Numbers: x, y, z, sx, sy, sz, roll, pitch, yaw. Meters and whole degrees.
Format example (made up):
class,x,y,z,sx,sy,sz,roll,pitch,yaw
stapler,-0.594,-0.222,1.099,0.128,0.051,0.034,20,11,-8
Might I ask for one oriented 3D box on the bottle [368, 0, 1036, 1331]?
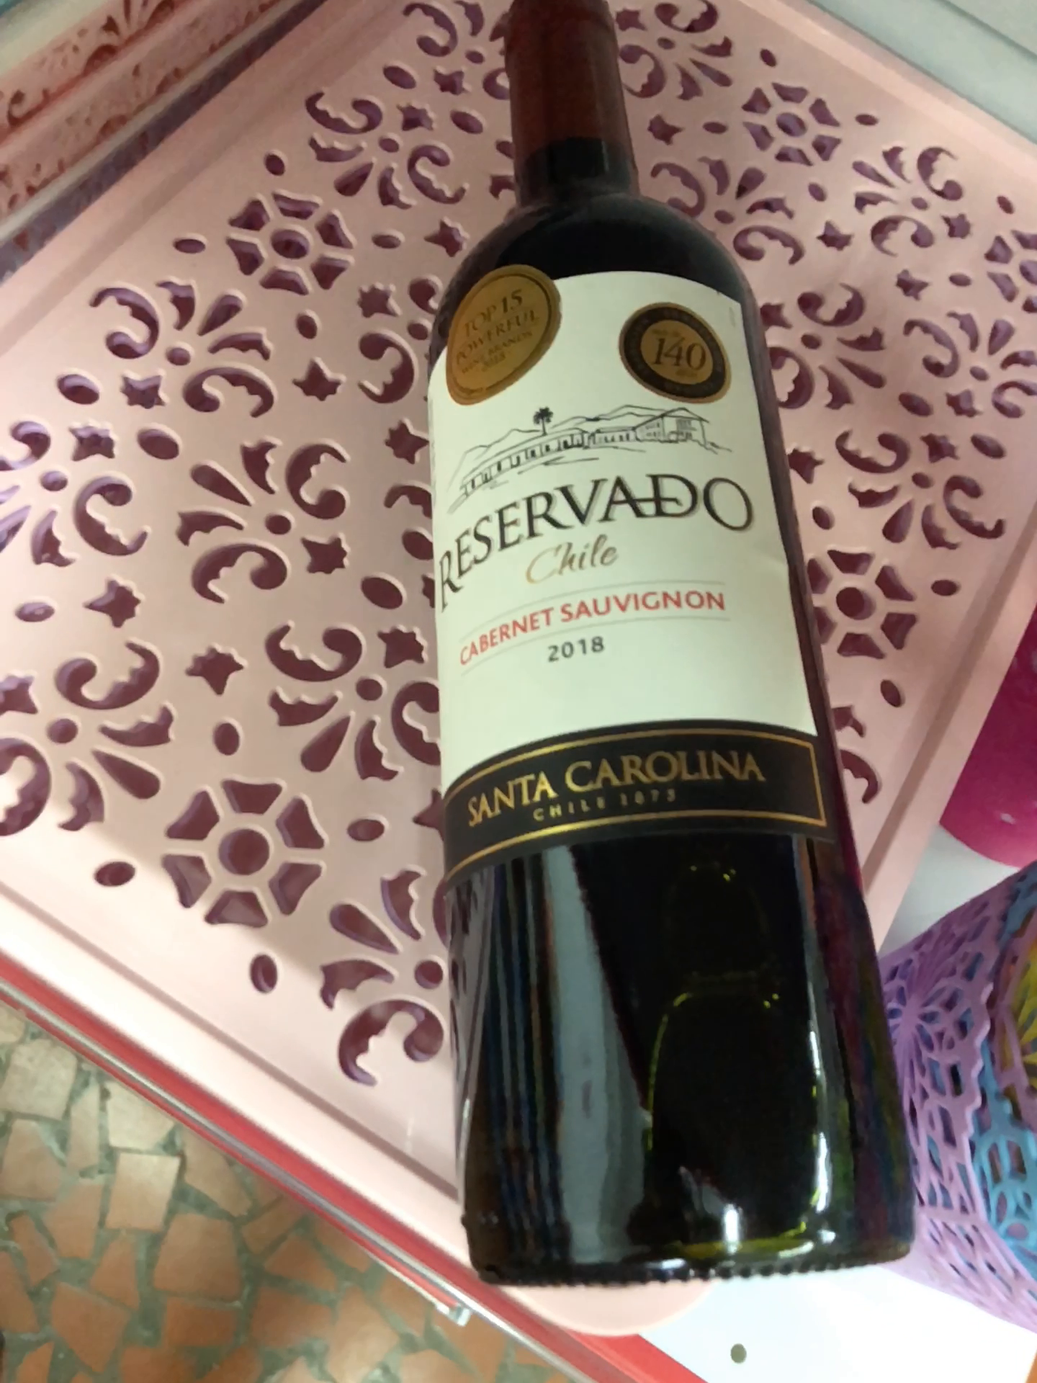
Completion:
class,x,y,z,sx,sy,sz,roll,pitch,yaw
bottle,0.011,-0.061,0.238,0.080,0.060,0.331,1,62,-10
